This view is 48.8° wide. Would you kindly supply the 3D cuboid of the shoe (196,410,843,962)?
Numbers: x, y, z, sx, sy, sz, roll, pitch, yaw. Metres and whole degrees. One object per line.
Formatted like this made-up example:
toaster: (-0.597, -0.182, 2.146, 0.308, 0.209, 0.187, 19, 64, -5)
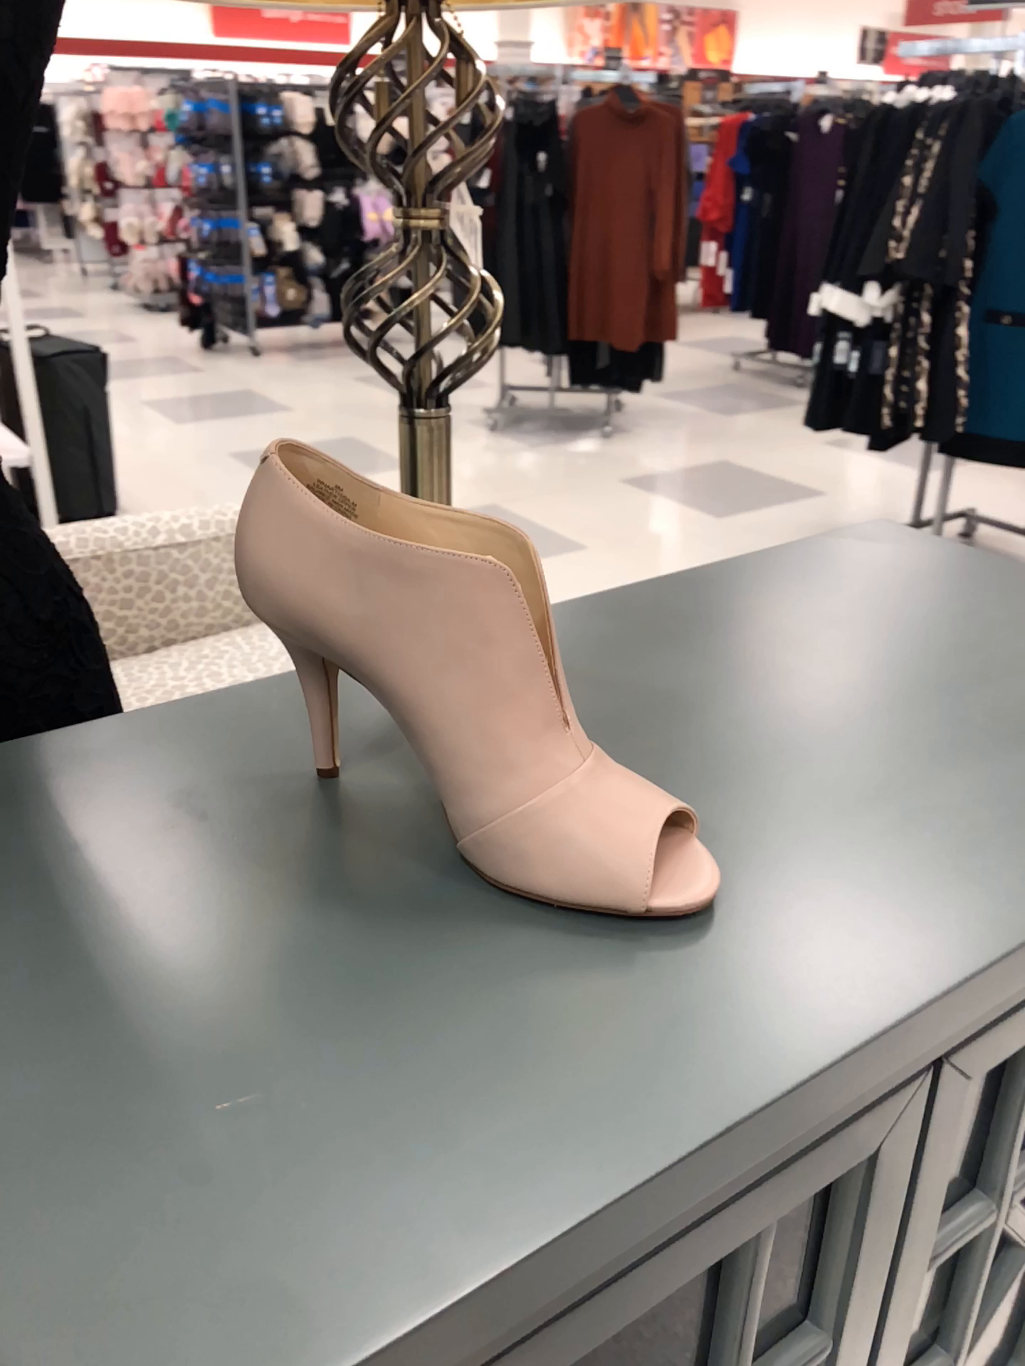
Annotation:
shoe: (-0.001, -0.012, 0.457, 0.224, 0.151, 0.098, 14, 28, 26)
